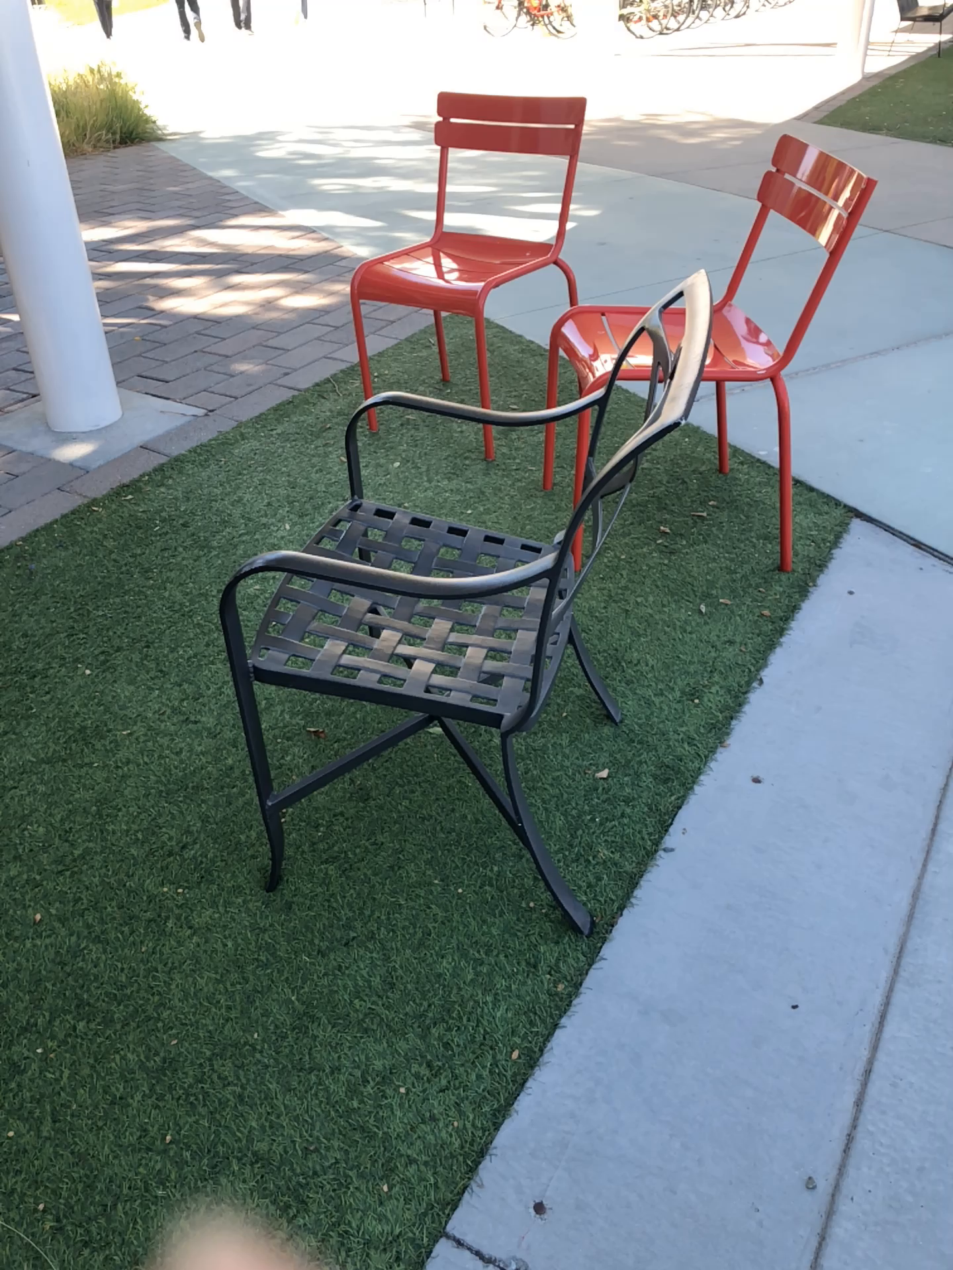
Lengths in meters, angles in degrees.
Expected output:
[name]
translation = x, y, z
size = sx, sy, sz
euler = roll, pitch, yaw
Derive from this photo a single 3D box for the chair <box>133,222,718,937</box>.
[chair]
translation = -0.021, -0.115, 1.607
size = 0.640, 0.806, 0.643
euler = 8, 34, 8
